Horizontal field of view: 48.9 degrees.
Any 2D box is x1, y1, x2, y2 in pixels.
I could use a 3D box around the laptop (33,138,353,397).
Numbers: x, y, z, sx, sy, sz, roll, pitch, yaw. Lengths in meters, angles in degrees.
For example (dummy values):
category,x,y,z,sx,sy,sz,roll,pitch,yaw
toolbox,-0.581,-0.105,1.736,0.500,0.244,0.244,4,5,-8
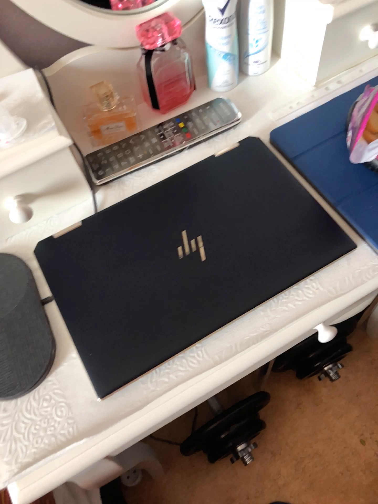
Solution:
category,x,y,z,sx,sy,sz,roll,pitch,yaw
laptop,0.006,-0.005,0.405,0.267,0.007,0.161,-28,66,-16
